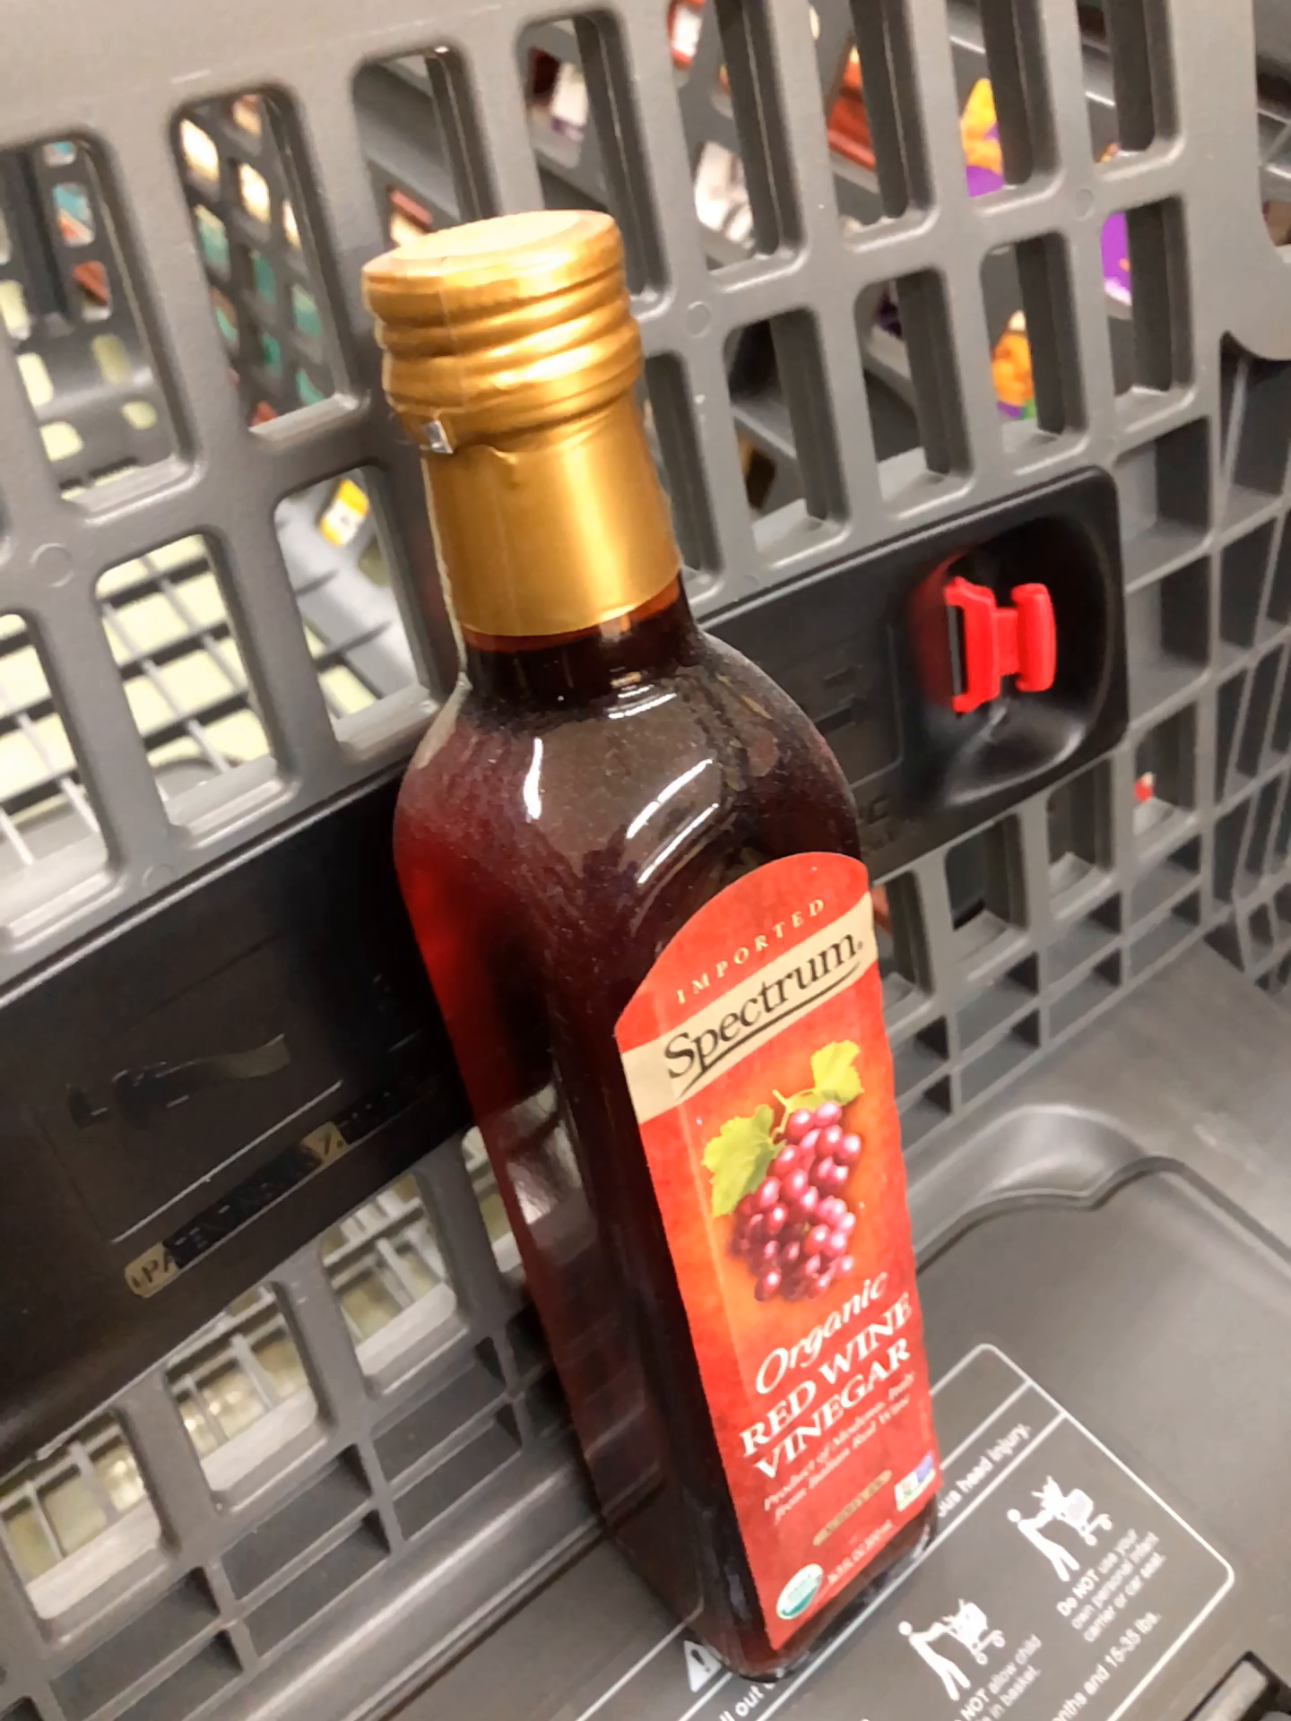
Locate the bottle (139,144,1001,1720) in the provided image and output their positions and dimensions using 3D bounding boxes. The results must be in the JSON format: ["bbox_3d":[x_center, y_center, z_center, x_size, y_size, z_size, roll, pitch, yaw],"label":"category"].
[{"bbox_3d":[0.007,0.033,0.248,0.070,0.270,0.070,-8,33,5],"label":"bottle"}]
